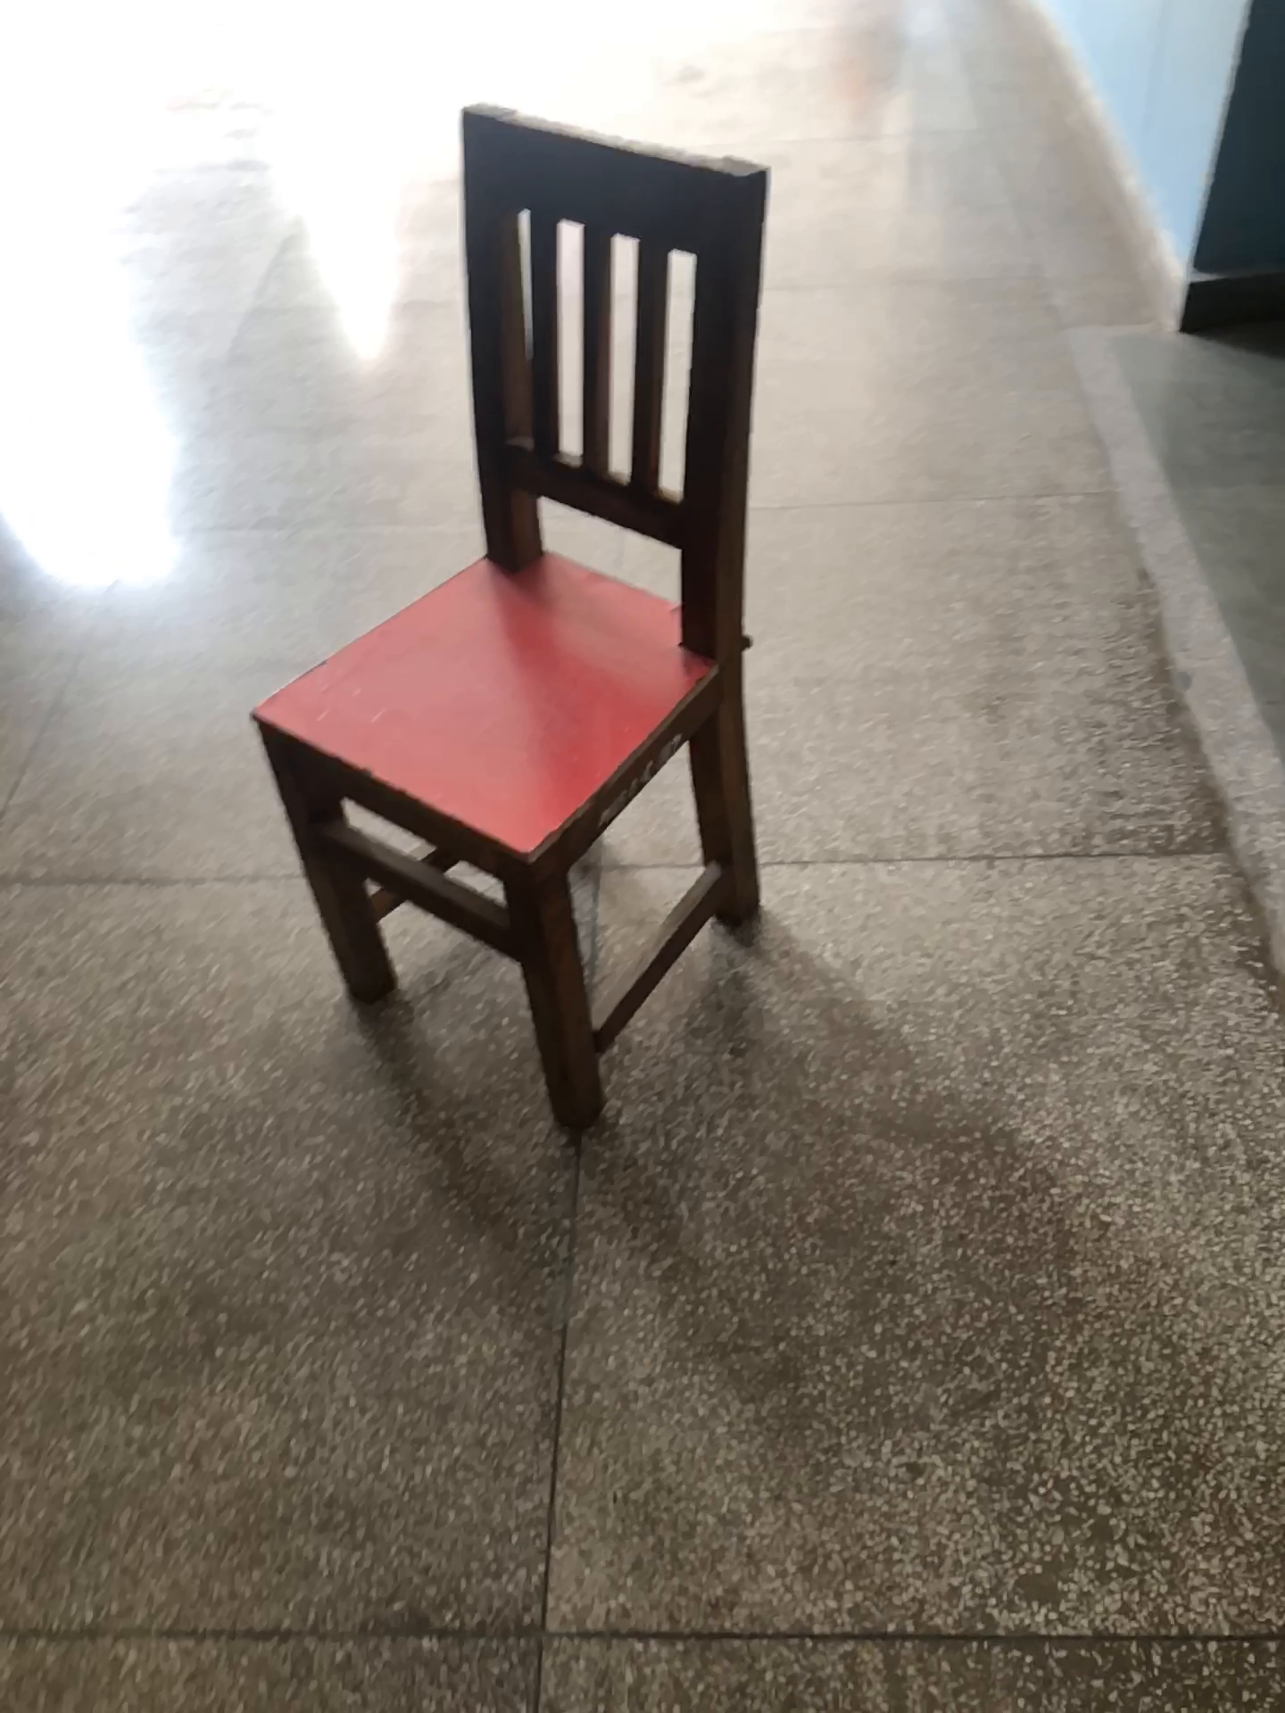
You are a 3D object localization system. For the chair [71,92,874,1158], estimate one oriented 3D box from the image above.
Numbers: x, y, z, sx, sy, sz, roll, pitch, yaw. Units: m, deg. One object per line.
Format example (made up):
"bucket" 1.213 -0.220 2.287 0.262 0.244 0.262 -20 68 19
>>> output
"chair" -0.103 -0.195 1.382 0.401 0.817 0.481 26 53 25
